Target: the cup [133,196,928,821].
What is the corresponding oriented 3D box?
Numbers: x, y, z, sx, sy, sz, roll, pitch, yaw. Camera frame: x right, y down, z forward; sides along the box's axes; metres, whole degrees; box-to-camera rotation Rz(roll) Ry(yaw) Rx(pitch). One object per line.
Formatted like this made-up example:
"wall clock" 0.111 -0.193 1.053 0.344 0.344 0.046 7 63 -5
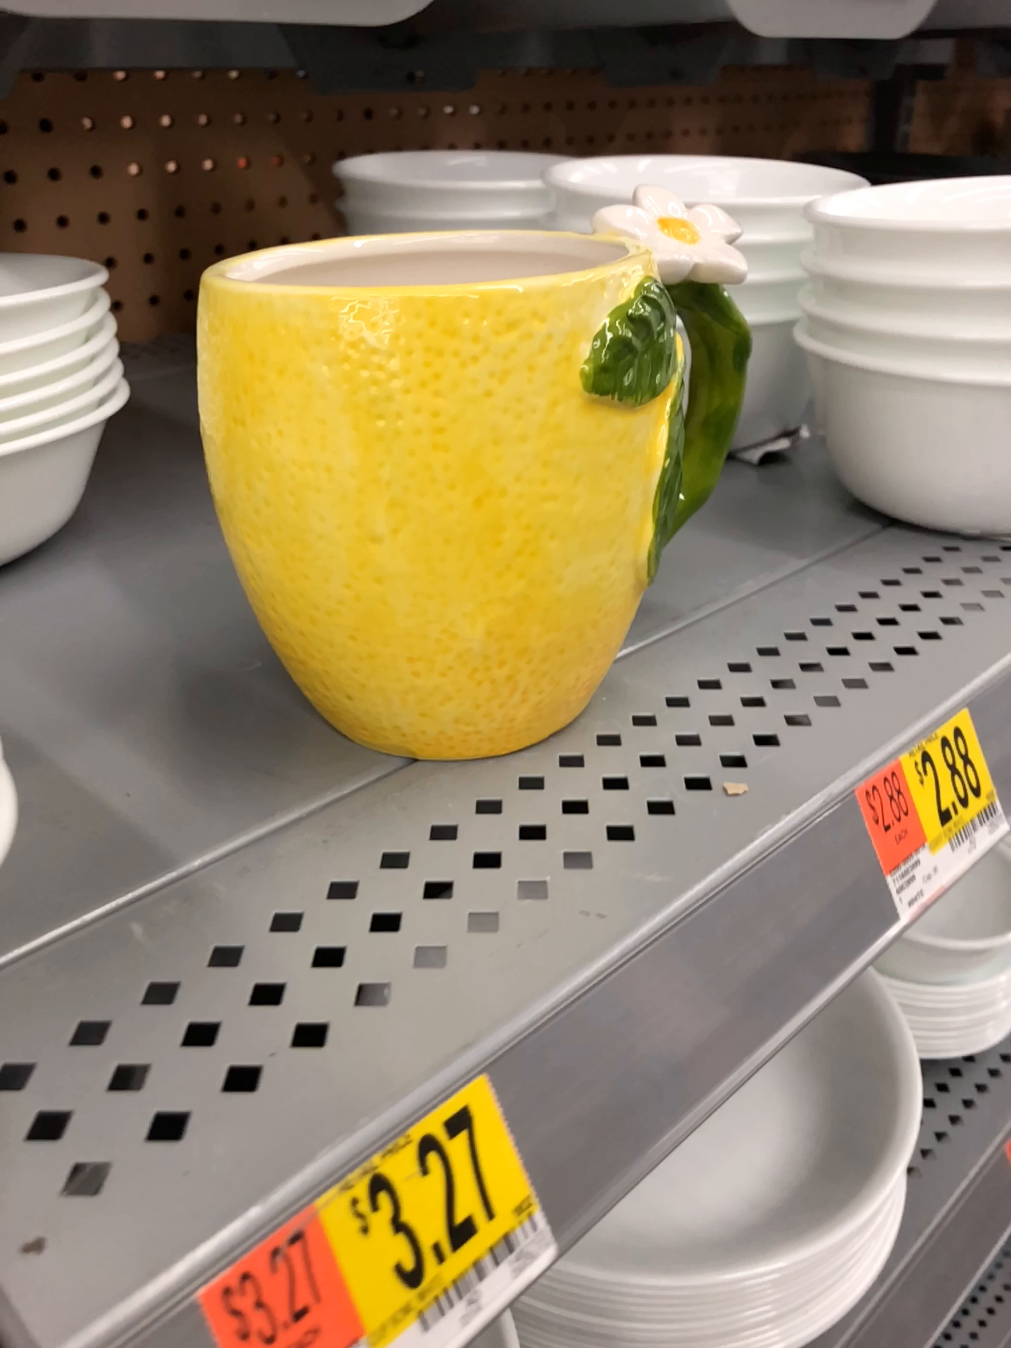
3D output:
"cup" 0.008 -0.053 0.265 0.139 0.094 0.101 -23 34 -35
